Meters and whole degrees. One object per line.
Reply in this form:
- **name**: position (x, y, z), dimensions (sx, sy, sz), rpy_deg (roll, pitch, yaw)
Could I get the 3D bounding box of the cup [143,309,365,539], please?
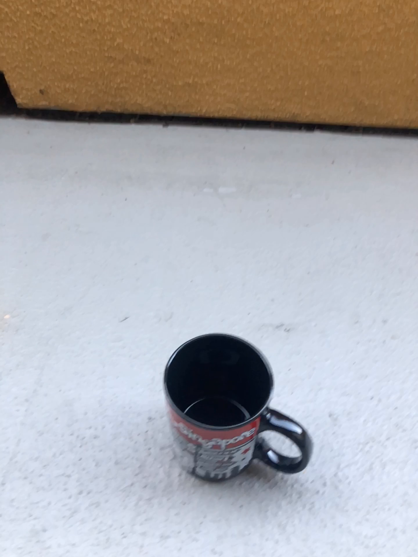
- **cup**: position (0.031, 0.110, 0.358), dimensions (0.130, 0.110, 0.080), rpy_deg (23, 50, 19)
